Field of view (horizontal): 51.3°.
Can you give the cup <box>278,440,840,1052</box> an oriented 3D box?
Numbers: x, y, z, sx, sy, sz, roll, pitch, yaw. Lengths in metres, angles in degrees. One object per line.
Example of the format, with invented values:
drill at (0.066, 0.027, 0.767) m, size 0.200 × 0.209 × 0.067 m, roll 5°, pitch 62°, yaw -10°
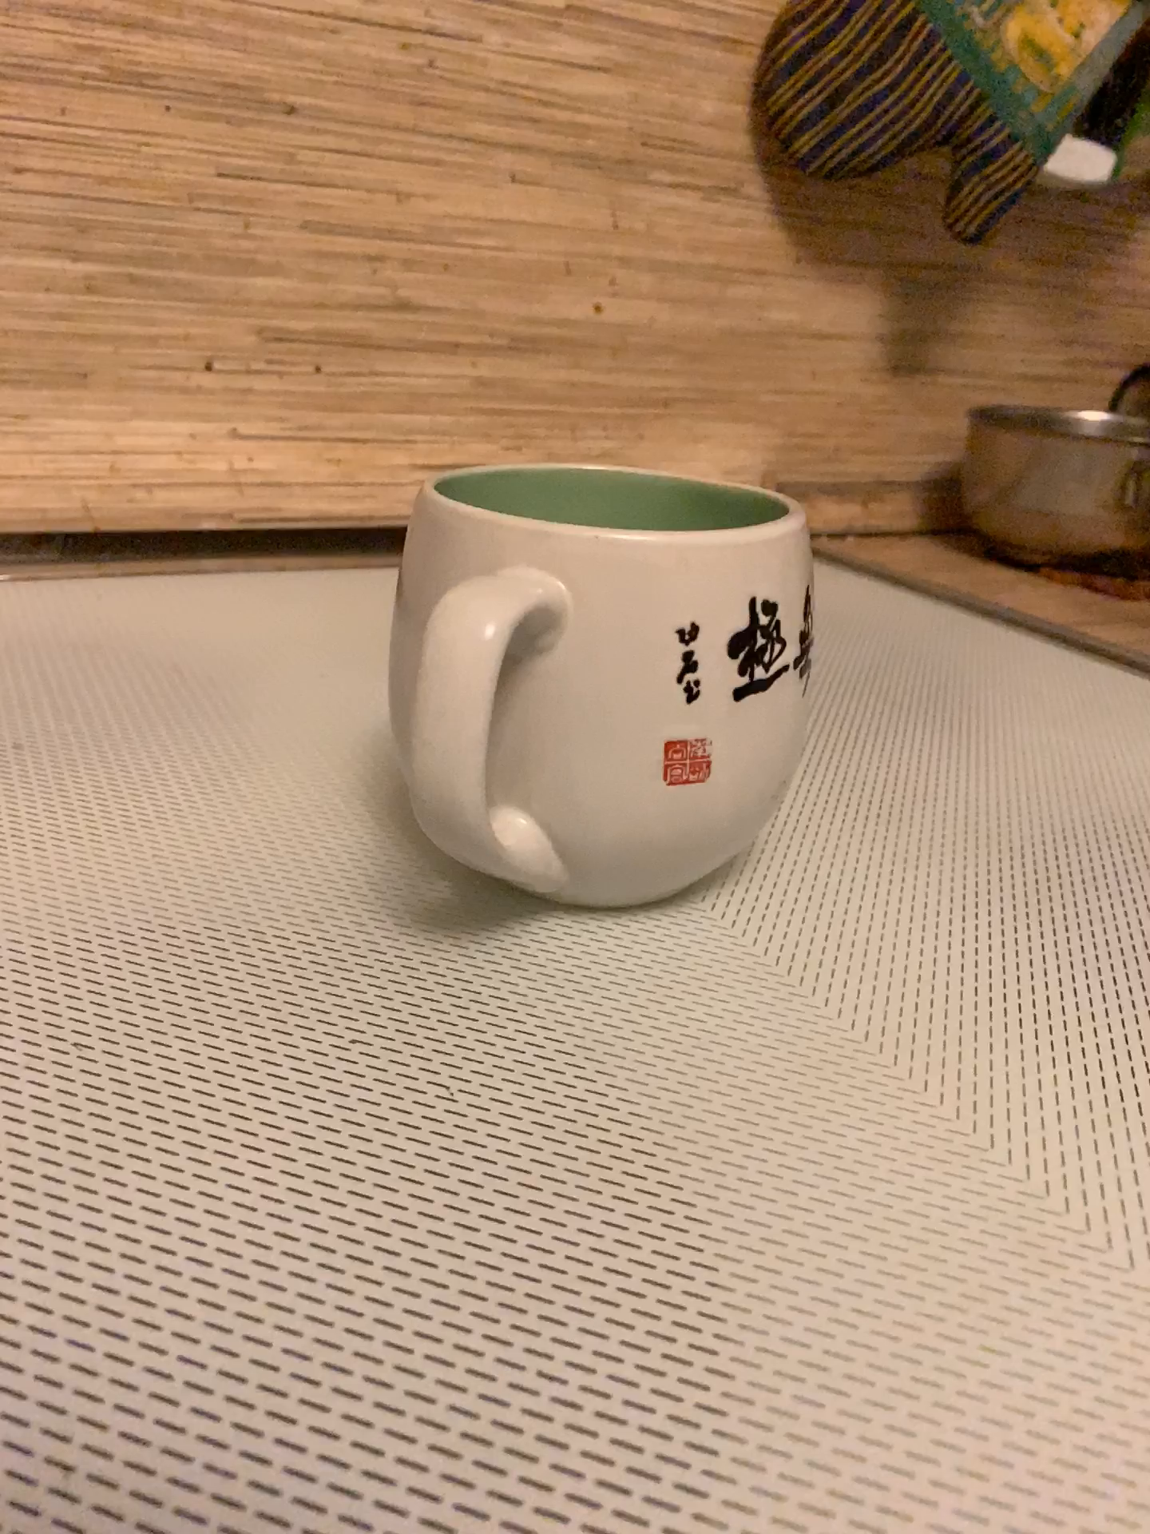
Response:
cup at (0.004, -0.018, 0.270) m, size 0.088 × 0.091 × 0.124 m, roll 10°, pitch 21°, yaw 13°
